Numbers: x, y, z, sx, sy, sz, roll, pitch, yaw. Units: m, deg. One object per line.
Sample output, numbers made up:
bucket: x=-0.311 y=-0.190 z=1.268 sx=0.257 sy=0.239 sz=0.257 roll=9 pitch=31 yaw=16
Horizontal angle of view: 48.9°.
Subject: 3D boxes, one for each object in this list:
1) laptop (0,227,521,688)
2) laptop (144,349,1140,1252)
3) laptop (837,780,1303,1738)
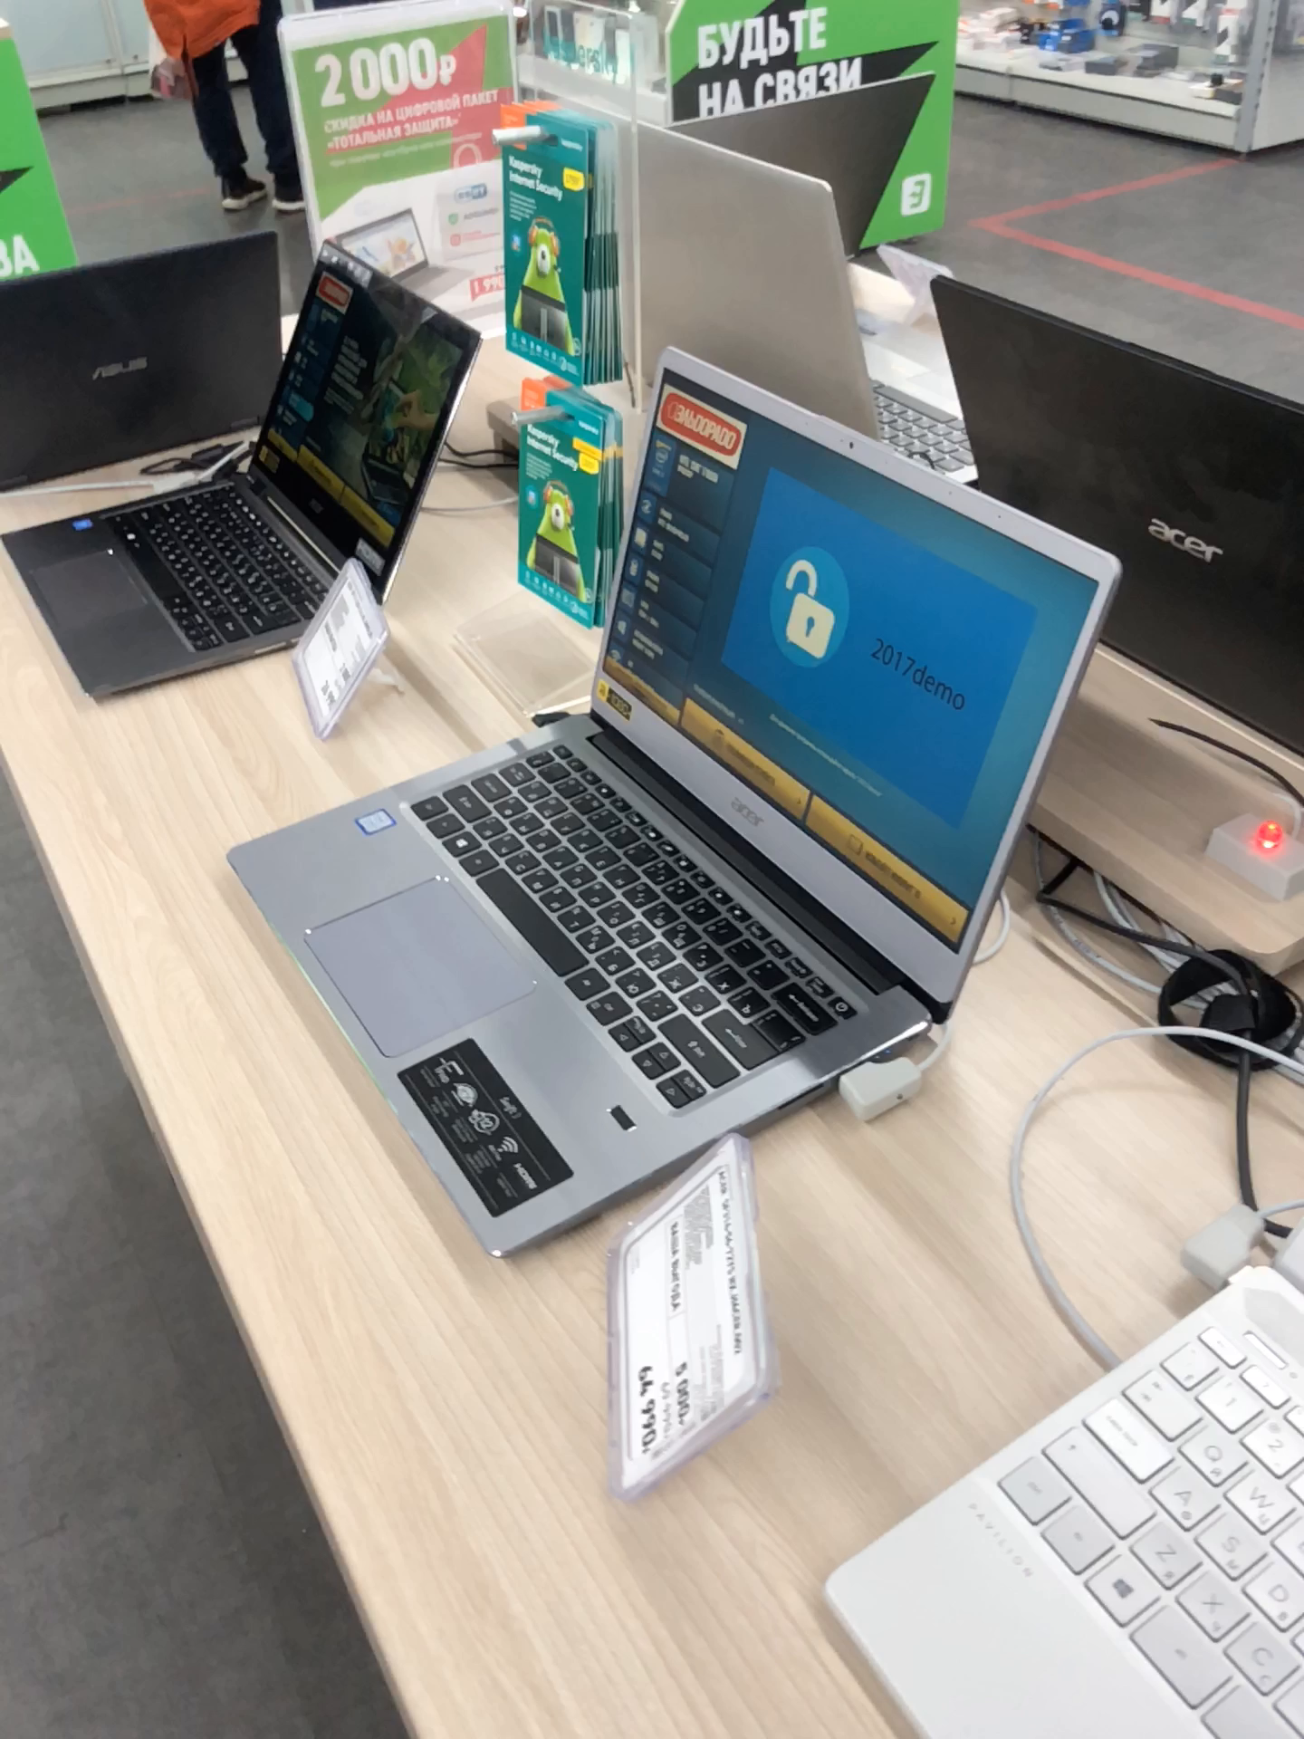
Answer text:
laptop: x=-0.306 y=-0.312 z=1.032 sx=0.311 sy=0.159 sz=0.280 roll=-24 pitch=42 yaw=-19
laptop: x=-0.017 y=-0.064 z=0.671 sx=0.302 sy=0.197 sz=0.316 roll=-25 pitch=43 yaw=-22
laptop: x=0.271 y=0.178 z=0.359 sx=0.322 sy=0.164 sz=0.306 roll=-25 pitch=43 yaw=-21
